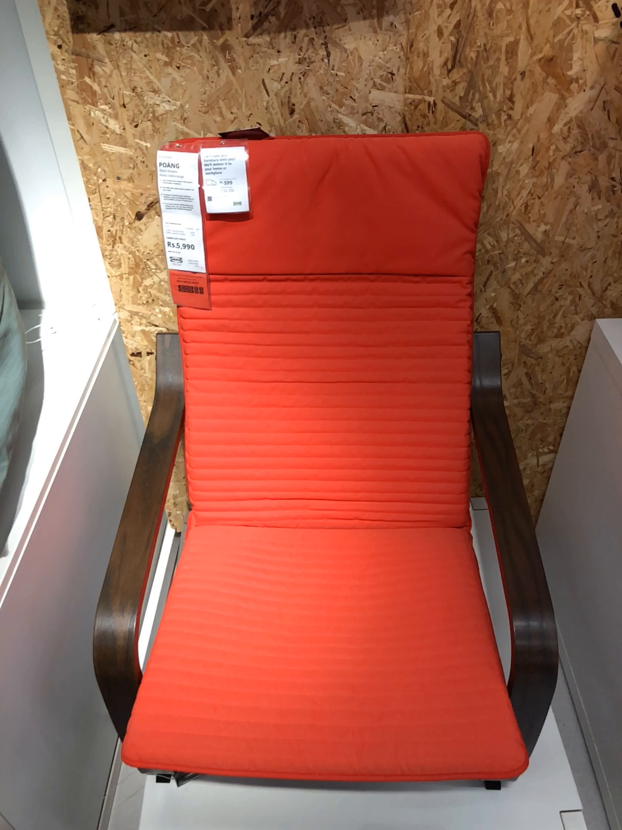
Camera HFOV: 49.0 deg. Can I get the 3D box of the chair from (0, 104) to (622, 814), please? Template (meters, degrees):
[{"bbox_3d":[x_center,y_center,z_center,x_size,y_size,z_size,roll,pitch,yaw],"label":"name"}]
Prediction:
[{"bbox_3d":[0.017,0.073,1.165,0.750,0.894,0.795,-1,41,2],"label":"chair"}]
